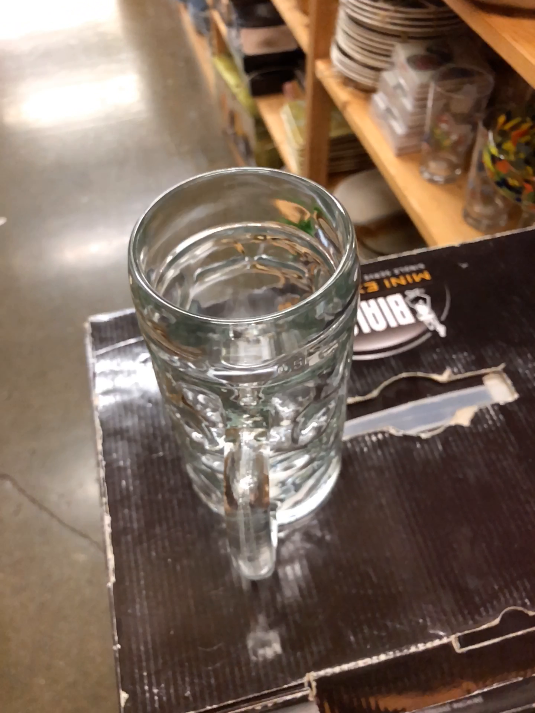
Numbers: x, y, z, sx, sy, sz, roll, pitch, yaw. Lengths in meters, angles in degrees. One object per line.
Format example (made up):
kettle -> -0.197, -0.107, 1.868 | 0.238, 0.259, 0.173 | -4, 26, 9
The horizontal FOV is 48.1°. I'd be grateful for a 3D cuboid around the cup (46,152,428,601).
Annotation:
cup -> -0.007, 0.014, 0.249 | 0.100, 0.136, 0.129 | -2, 53, 1
